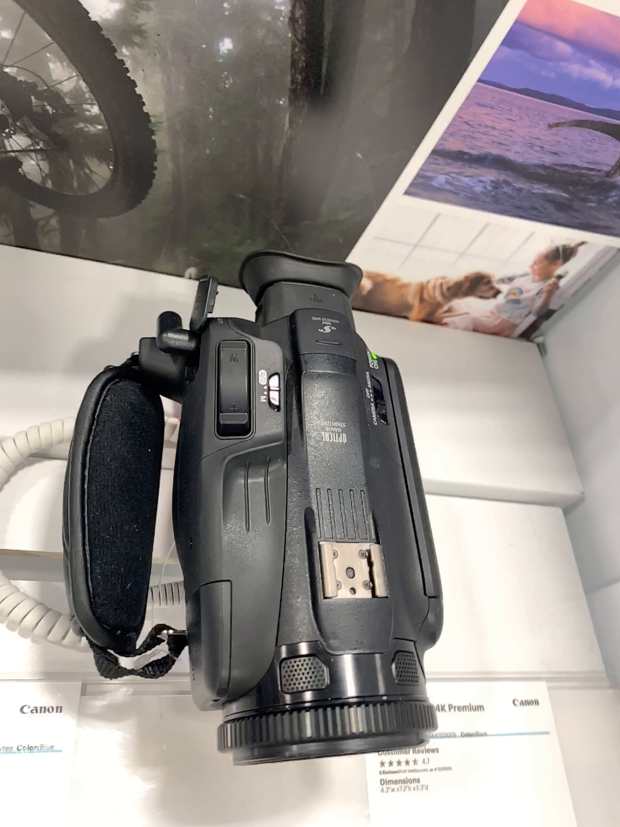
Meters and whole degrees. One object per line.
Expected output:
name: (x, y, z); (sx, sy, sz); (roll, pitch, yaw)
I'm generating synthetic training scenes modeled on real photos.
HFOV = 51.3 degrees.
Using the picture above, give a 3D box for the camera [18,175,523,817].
camera: (-0.023, 0.022, 0.237); (0.132, 0.069, 0.200); (6, 58, -21)
